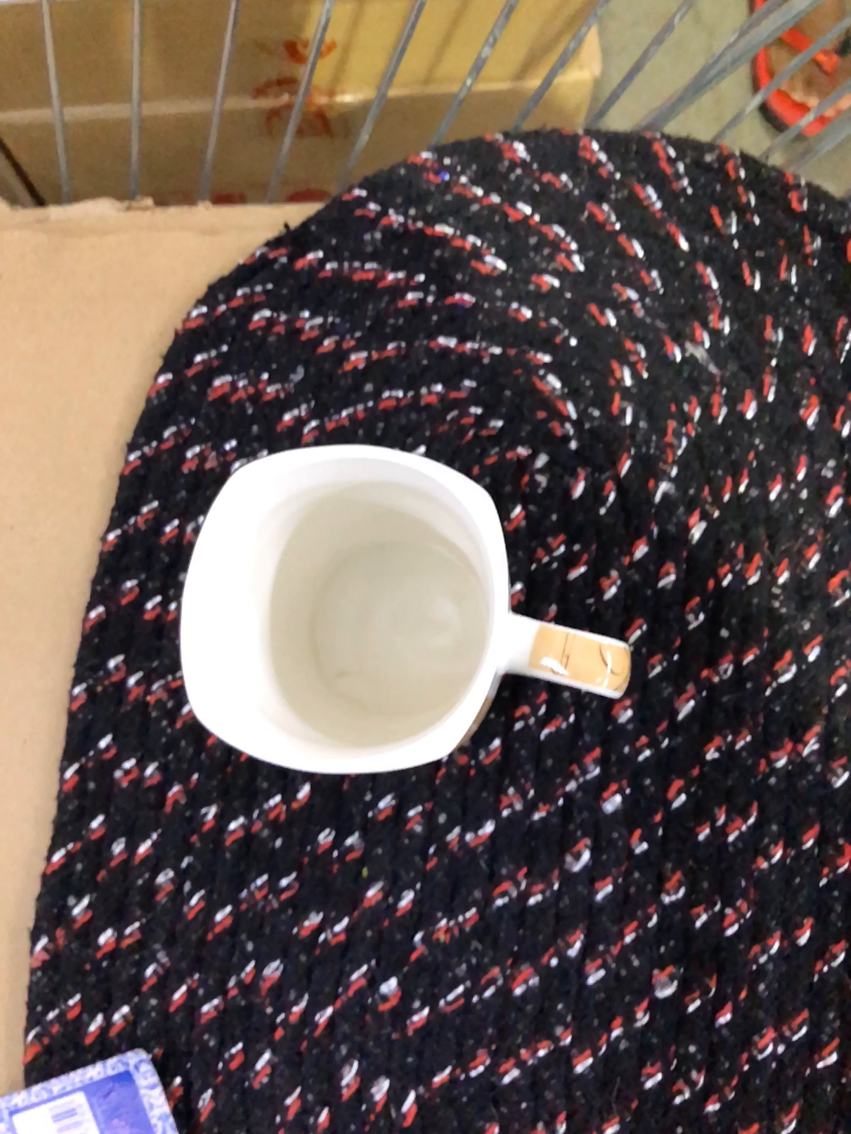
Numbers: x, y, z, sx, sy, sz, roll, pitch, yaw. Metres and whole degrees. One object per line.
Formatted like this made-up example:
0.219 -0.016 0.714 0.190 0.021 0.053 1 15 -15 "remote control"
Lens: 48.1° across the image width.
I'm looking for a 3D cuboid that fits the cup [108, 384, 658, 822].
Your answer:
-0.004 0.012 0.265 0.120 0.080 0.090 7 80 12 "cup"
